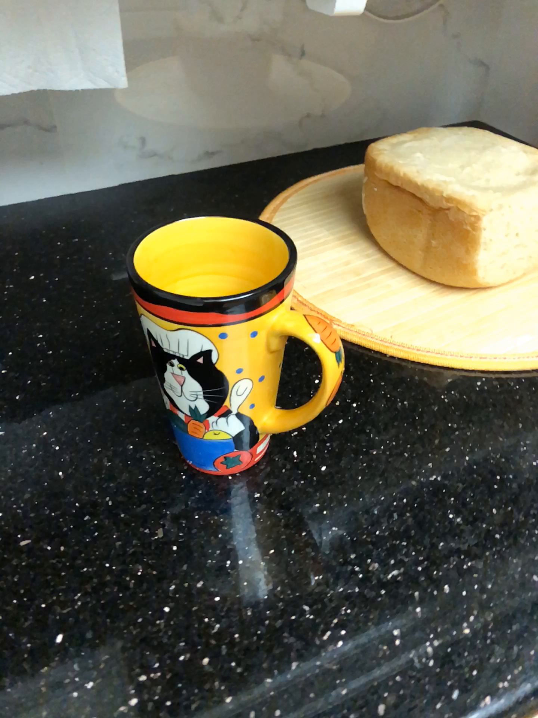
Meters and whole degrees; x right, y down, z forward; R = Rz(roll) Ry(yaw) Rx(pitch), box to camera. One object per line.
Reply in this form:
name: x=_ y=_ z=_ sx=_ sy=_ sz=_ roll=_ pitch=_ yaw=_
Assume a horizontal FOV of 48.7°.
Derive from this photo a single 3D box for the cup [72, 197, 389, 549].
cup: x=-0.019 y=0.005 z=0.341 sx=0.130 sy=0.139 sz=0.090 roll=23 pitch=46 yaw=24
